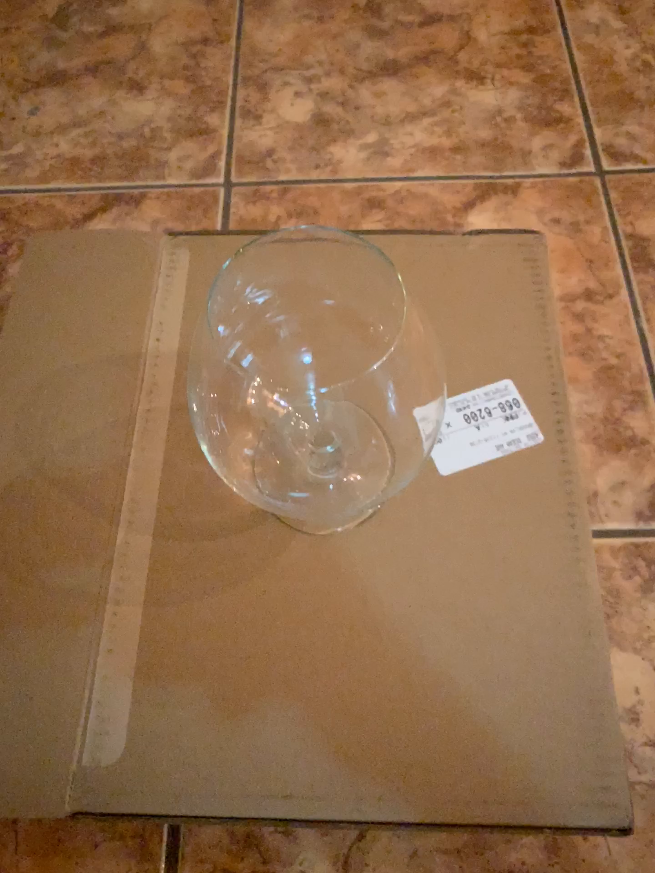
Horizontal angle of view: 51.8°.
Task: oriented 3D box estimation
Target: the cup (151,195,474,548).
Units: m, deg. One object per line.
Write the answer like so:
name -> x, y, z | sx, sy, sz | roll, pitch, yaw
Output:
cup -> -0.004, -0.016, 0.309 | 0.105, 0.159, 0.085 | -3, 63, 1
